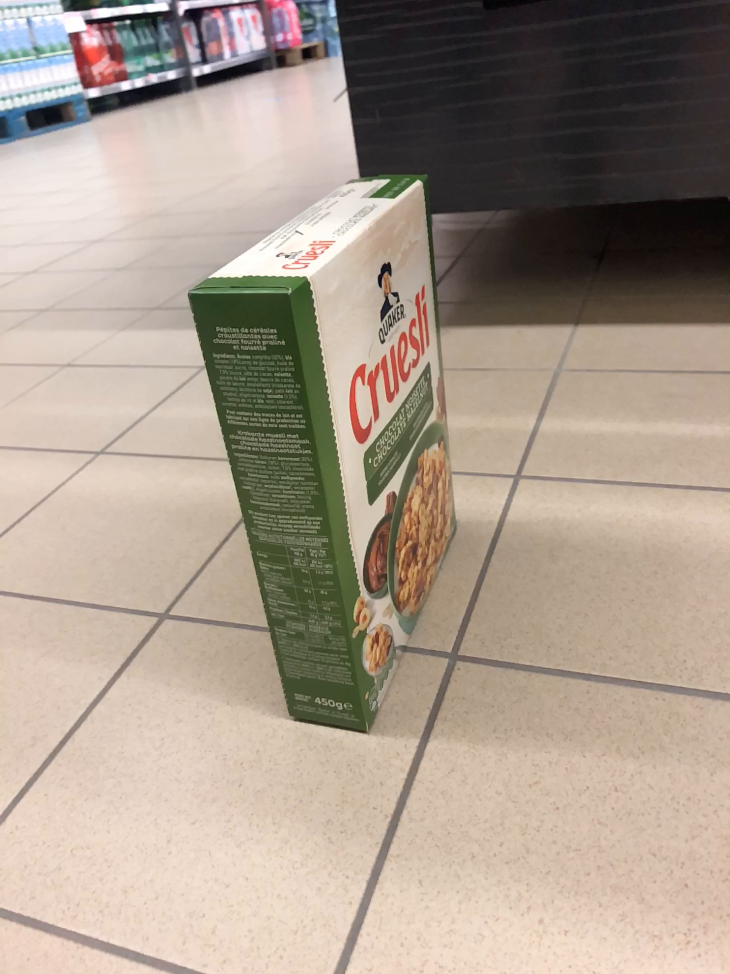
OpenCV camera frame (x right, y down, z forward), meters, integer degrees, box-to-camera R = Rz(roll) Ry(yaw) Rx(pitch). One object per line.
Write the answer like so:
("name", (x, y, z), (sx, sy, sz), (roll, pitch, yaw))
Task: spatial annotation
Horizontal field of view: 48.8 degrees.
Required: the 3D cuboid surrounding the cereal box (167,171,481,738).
("cereal box", (0.001, -0.025, 0.441), (0.060, 0.239, 0.191), (4, 33, 23))
